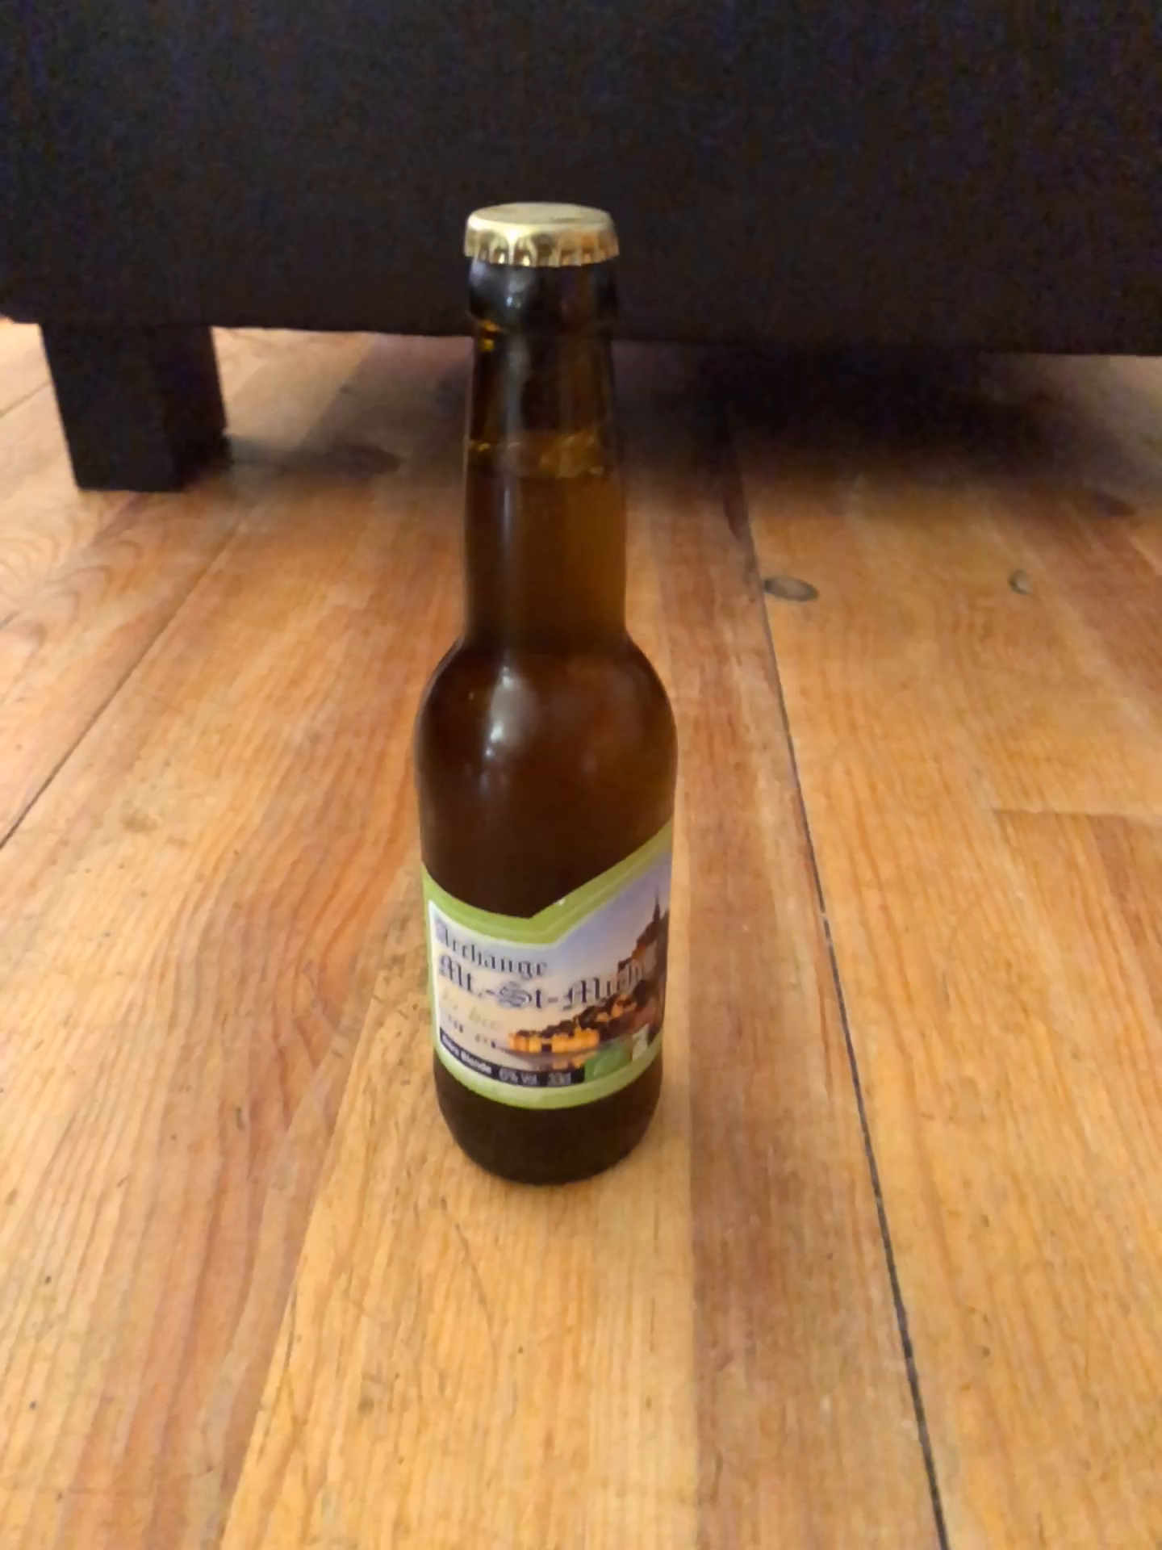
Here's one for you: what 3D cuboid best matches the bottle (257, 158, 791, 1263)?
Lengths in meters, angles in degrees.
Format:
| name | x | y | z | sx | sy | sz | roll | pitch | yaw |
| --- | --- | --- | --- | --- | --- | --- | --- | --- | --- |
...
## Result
| name | x | y | z | sx | sy | sz | roll | pitch | yaw |
| --- | --- | --- | --- | --- | --- | --- | --- | --- | --- |
| bottle | -0.015 | -0.007 | 0.287 | 0.070 | 0.229 | 0.070 | 1 | 31 | -1 |
